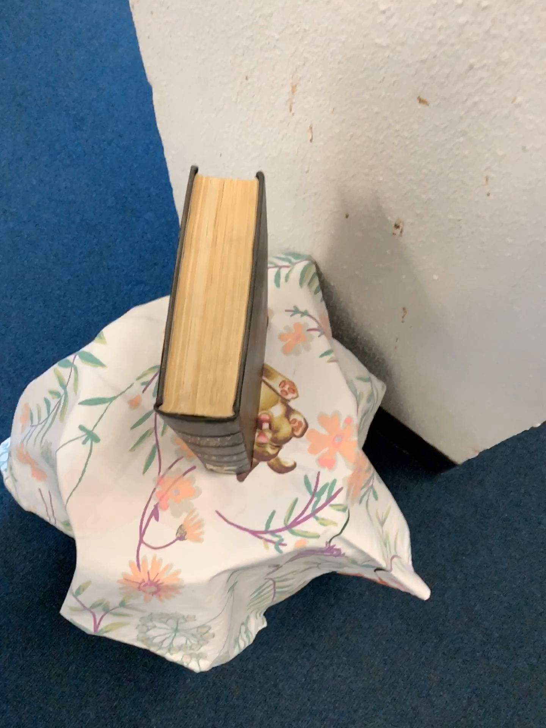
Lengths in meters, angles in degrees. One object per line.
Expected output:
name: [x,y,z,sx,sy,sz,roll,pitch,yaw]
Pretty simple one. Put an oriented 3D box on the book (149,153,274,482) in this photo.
book: [-0.035,-0.009,0.427,0.052,0.245,0.162,4,71,0]
